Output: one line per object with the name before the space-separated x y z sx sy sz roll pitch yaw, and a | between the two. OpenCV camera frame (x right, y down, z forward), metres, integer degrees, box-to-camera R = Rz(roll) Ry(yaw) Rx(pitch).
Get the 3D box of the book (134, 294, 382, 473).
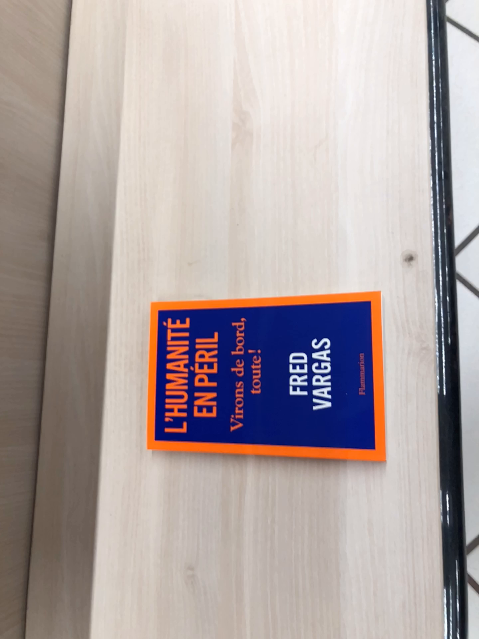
book | 0.013 0.052 0.456 0.207 0.030 0.137 -1 81 18
